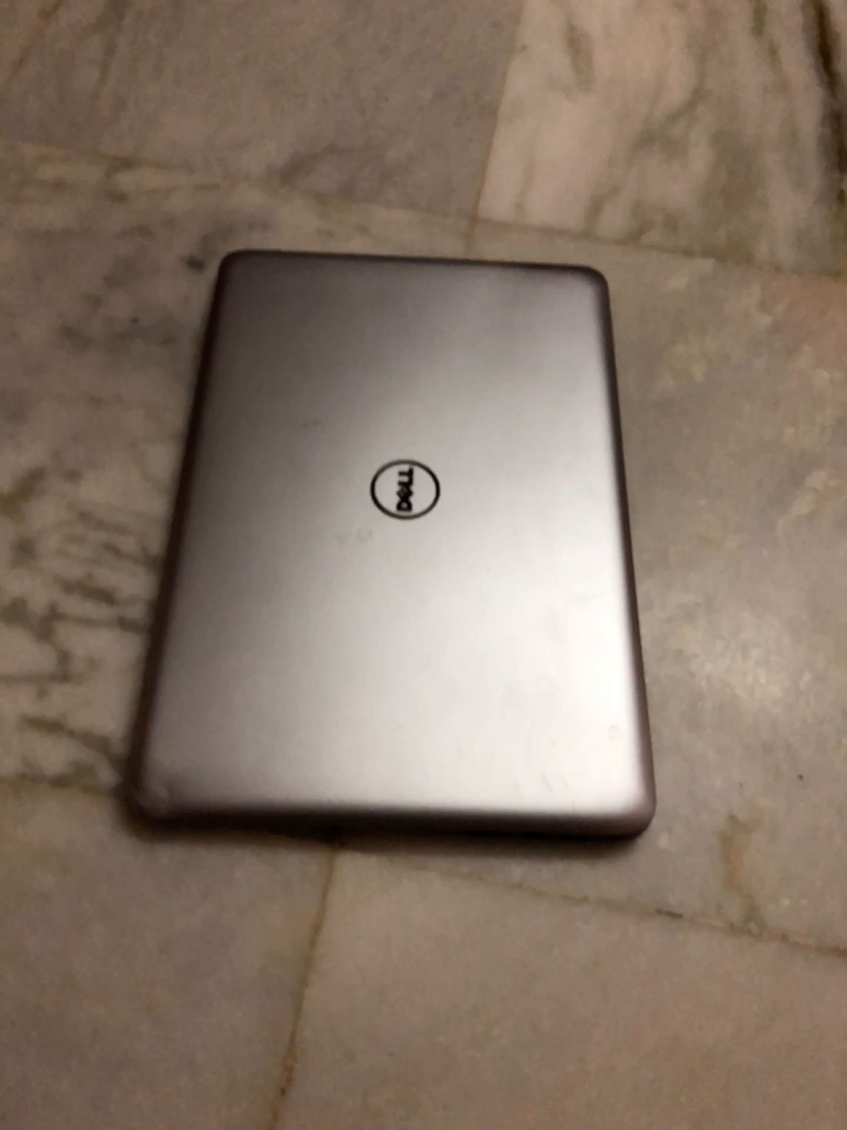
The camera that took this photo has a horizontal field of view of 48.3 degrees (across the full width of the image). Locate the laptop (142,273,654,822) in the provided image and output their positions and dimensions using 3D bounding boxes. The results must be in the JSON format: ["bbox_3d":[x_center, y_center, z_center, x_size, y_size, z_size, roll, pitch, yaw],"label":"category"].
[{"bbox_3d":[-0.008,-0.033,0.533,0.244,0.002,0.346,2,61,-2],"label":"laptop"}]
